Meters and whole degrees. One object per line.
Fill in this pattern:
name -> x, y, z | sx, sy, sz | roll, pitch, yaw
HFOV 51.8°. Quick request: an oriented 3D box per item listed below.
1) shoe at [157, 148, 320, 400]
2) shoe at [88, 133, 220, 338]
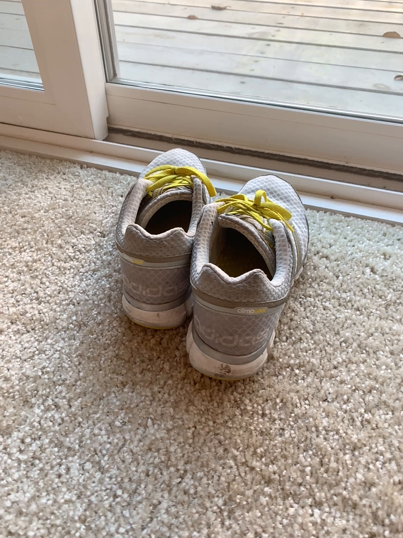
shoe -> 0.047, -0.018, 0.386 | 0.090, 0.100, 0.241 | 16, 35, 7
shoe -> -0.037, -0.052, 0.429 | 0.090, 0.100, 0.231 | 8, 34, 0
